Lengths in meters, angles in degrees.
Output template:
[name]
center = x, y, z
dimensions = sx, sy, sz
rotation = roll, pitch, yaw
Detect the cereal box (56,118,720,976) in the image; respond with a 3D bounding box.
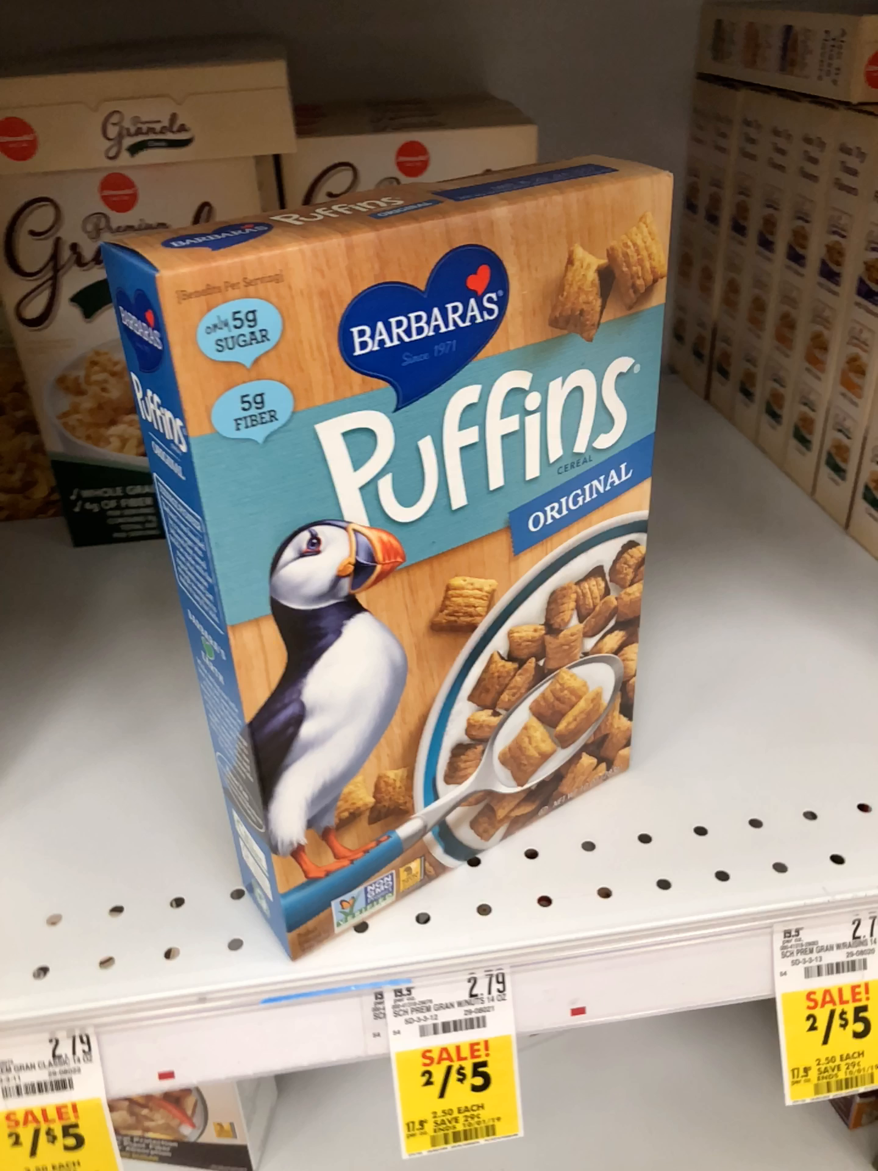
[cereal box]
center = 0.000, -0.012, 0.352
dimensions = 0.190, 0.259, 0.060
rotation = -23, 36, -27
